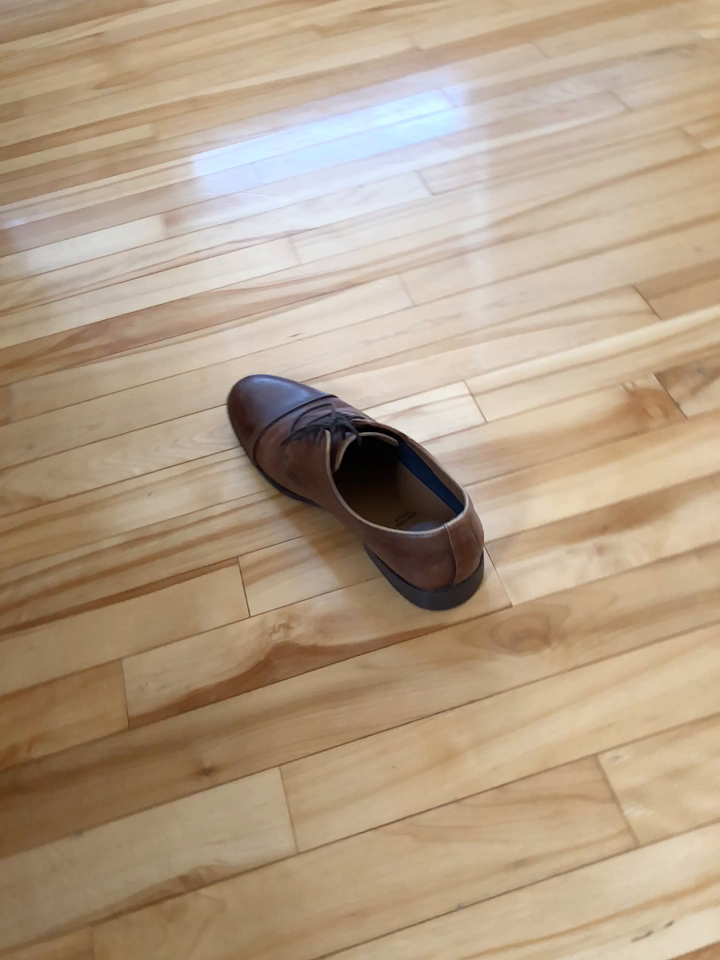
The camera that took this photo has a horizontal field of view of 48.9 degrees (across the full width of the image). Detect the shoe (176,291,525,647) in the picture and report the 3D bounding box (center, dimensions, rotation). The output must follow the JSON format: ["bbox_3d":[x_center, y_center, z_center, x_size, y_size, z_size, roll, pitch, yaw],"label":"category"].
[{"bbox_3d":[-0.016,-0.023,0.648,0.100,0.100,0.311,-35,55,-18],"label":"shoe"}]
